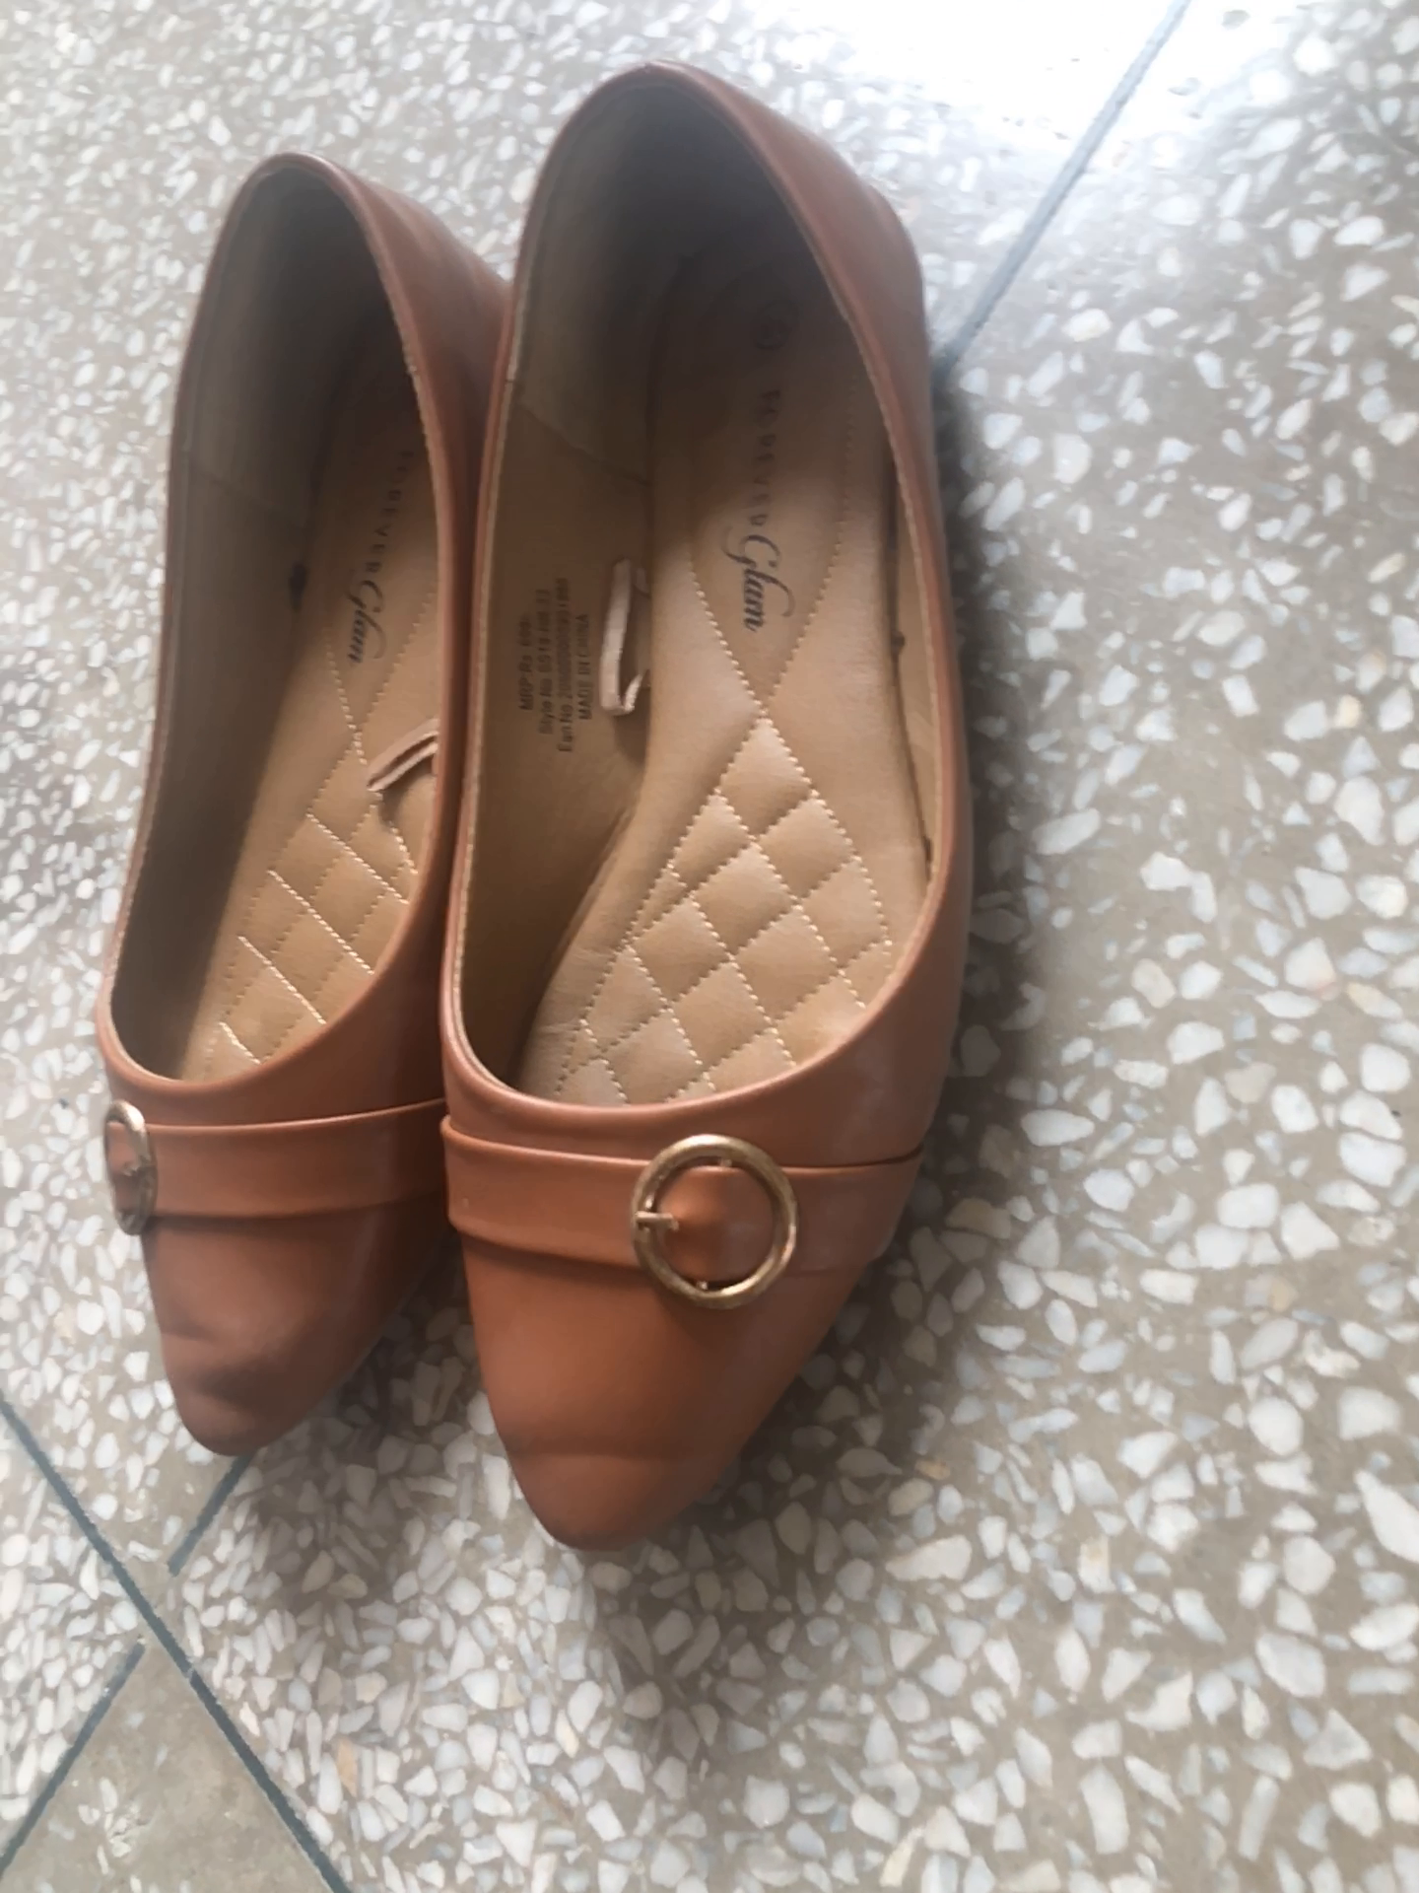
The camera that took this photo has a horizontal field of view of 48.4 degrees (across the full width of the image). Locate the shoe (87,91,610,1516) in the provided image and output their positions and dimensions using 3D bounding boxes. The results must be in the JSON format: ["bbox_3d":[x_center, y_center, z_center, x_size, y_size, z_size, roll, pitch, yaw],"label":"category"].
[{"bbox_3d":[-0.076,-0.024,0.322,0.090,0.050,0.250,-4,87,36],"label":"shoe"}]

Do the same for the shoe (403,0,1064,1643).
[{"bbox_3d":[0.002,-0.027,0.268,0.090,0.050,0.250,-4,87,36],"label":"shoe"}]
